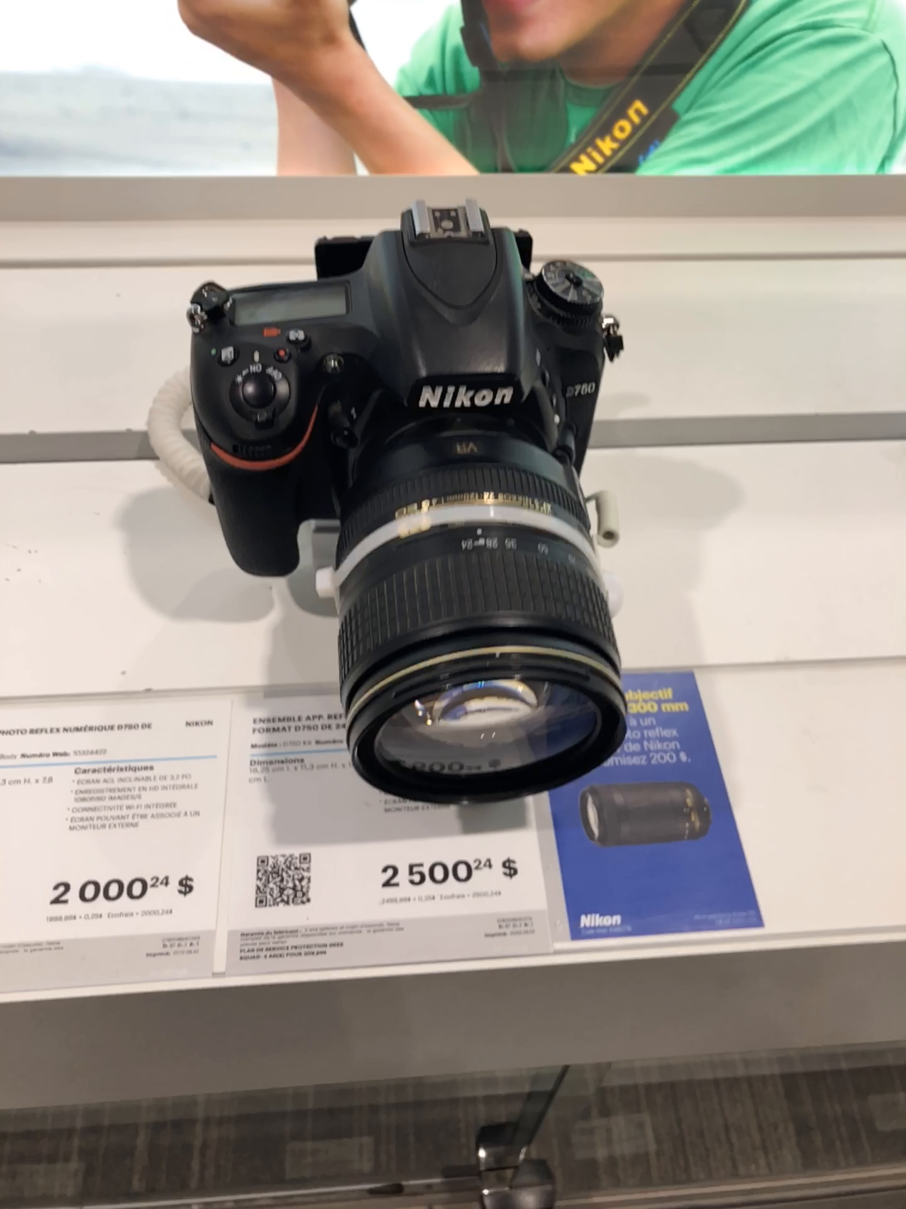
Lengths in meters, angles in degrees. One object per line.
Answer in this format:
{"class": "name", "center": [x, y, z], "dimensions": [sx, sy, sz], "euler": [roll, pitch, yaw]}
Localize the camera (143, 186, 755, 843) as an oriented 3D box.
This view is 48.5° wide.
{"class": "camera", "center": [-0.012, -0.038, 0.321], "dimensions": [0.138, 0.099, 0.184], "euler": [-4, 51, -6]}
